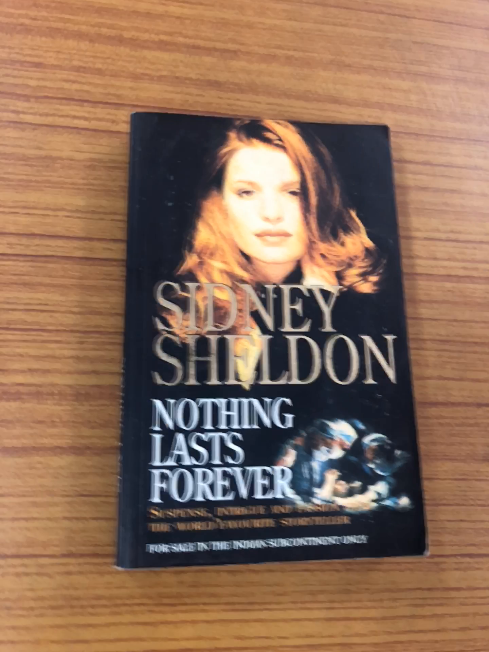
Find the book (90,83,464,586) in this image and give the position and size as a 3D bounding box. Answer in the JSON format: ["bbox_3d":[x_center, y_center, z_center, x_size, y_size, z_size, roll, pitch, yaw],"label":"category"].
[{"bbox_3d":[0.009,-0.002,0.205,0.120,0.030,0.170,0,78,-8],"label":"book"}]
